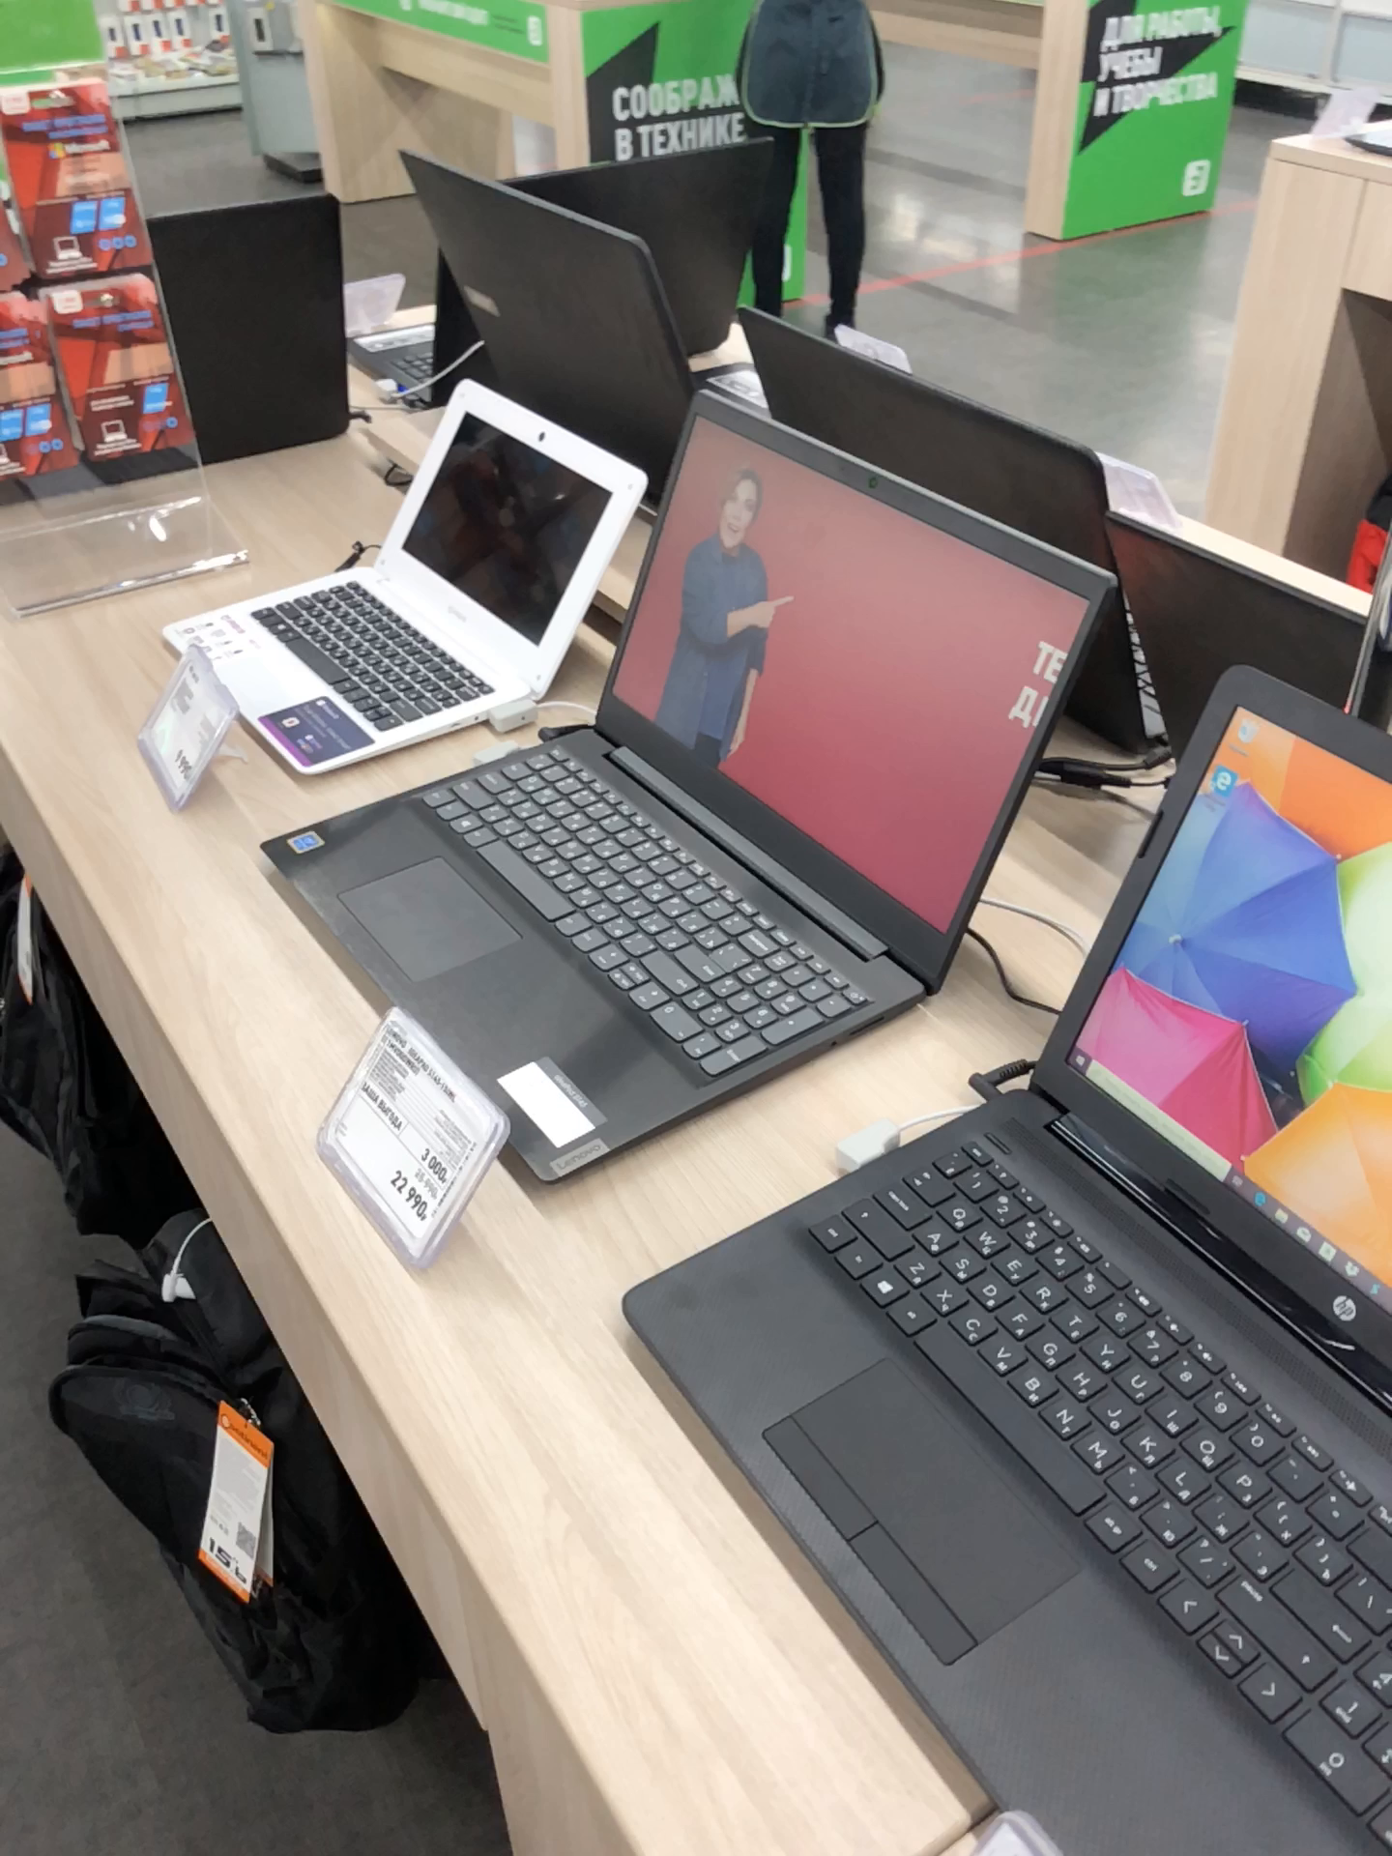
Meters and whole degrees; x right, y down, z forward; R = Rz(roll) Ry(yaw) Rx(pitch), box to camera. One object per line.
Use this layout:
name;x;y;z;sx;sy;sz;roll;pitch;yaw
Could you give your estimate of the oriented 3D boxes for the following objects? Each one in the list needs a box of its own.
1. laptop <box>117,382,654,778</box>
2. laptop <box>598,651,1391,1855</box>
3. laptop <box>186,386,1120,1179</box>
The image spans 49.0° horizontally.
laptop;-0.232;-0.277;1.151;0.289;0.139;0.280;-24;42;-27
laptop;0.202;0.110;0.526;0.321;0.206;0.376;-22;41;-25
laptop;-0.034;-0.115;0.852;0.341;0.212;0.356;-24;42;-26
